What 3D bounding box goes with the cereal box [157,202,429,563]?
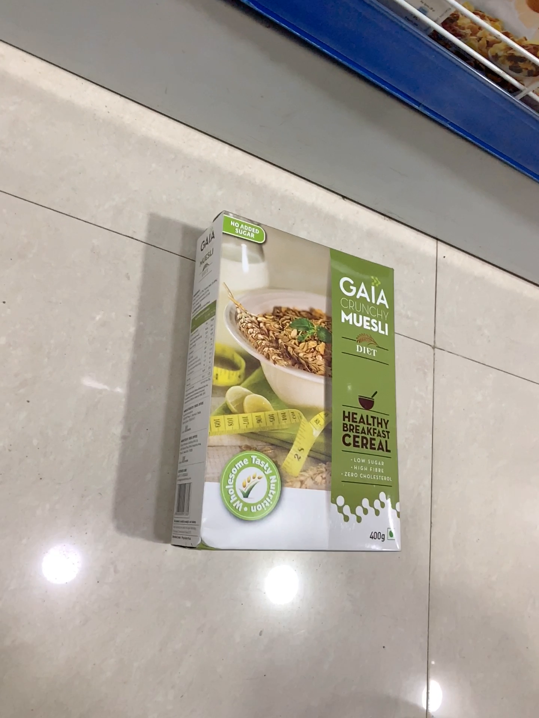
[{"bbox_3d":[0.025,0.027,0.417,0.180,0.070,0.230,11,73,-28],"label":"cereal box"}]
